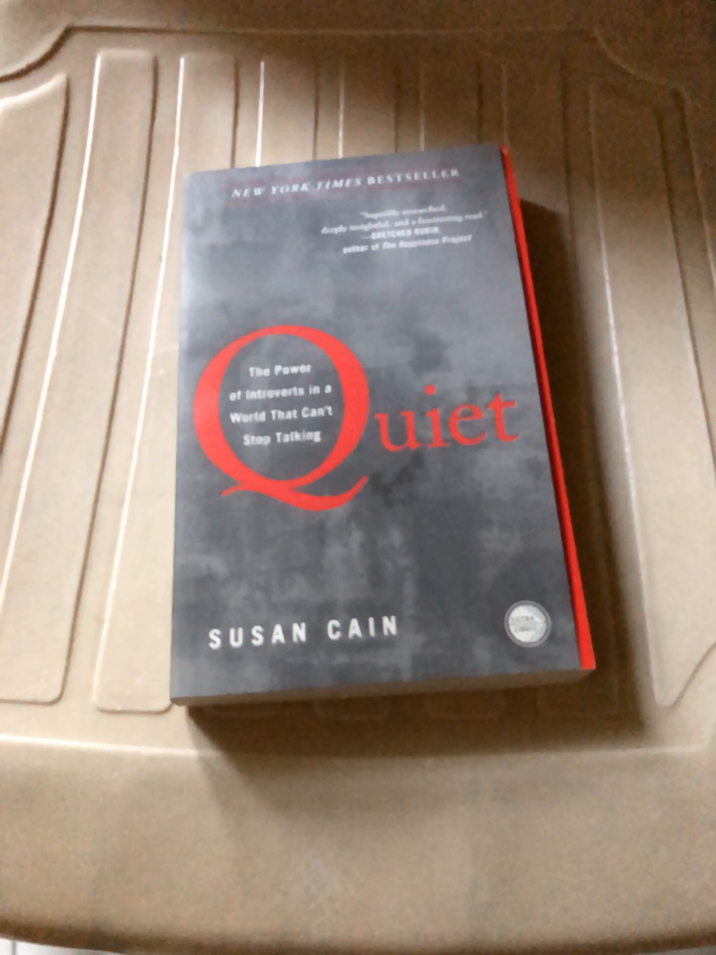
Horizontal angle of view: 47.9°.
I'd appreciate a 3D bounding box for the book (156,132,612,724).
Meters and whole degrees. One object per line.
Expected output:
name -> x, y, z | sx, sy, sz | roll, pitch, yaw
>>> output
book -> 0.002, -0.024, 0.278 | 0.130, 0.030, 0.200 | -4, 70, 0
